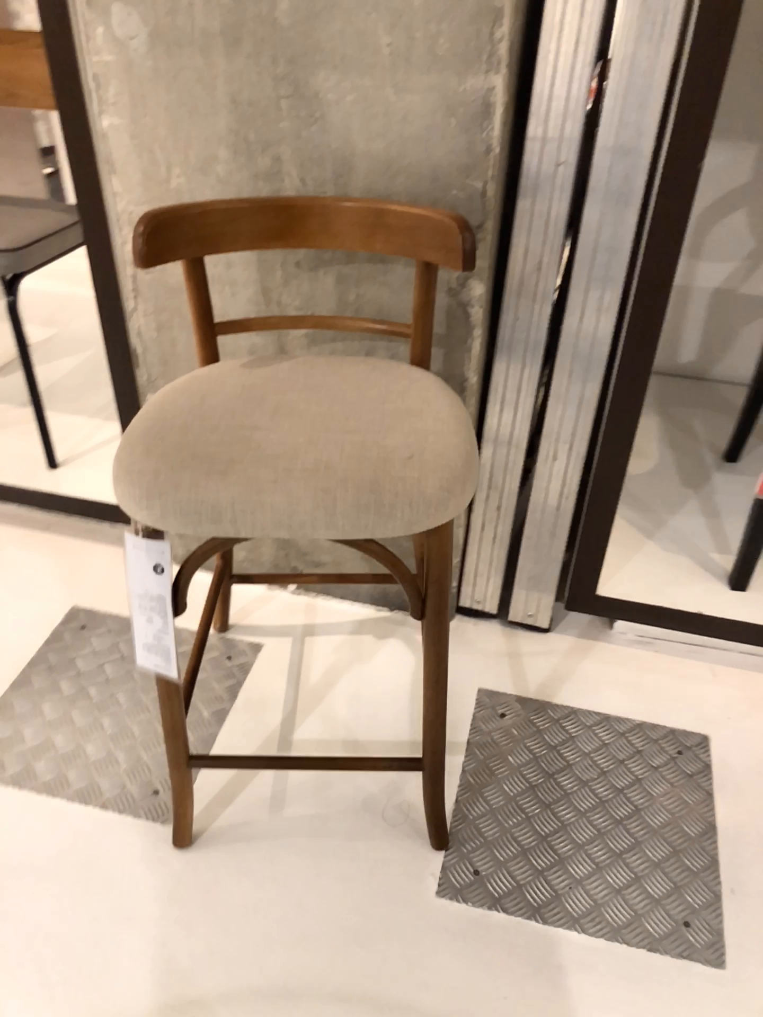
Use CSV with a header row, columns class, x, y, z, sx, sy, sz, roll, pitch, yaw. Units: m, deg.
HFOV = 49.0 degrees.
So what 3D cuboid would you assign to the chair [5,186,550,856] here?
class,x,y,z,sx,sy,sz,roll,pitch,yaw
chair,-0.102,0.039,1.190,0.490,0.814,0.484,1,37,-1
